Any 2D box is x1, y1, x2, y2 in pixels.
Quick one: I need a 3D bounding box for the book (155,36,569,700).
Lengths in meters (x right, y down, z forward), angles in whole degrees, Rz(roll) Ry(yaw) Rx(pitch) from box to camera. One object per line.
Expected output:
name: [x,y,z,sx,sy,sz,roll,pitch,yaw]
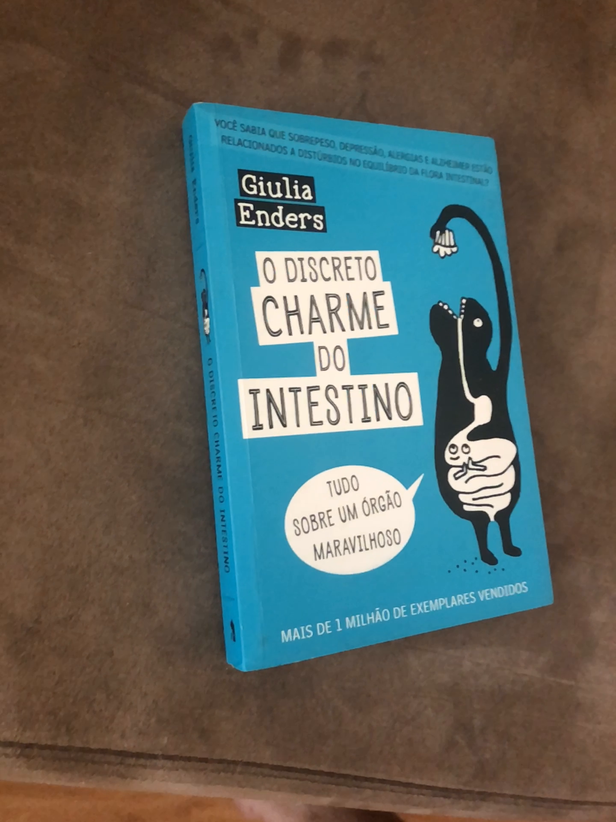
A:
book: [0.022,-0.021,0.267,0.140,0.030,0.220,-3,83,-25]
